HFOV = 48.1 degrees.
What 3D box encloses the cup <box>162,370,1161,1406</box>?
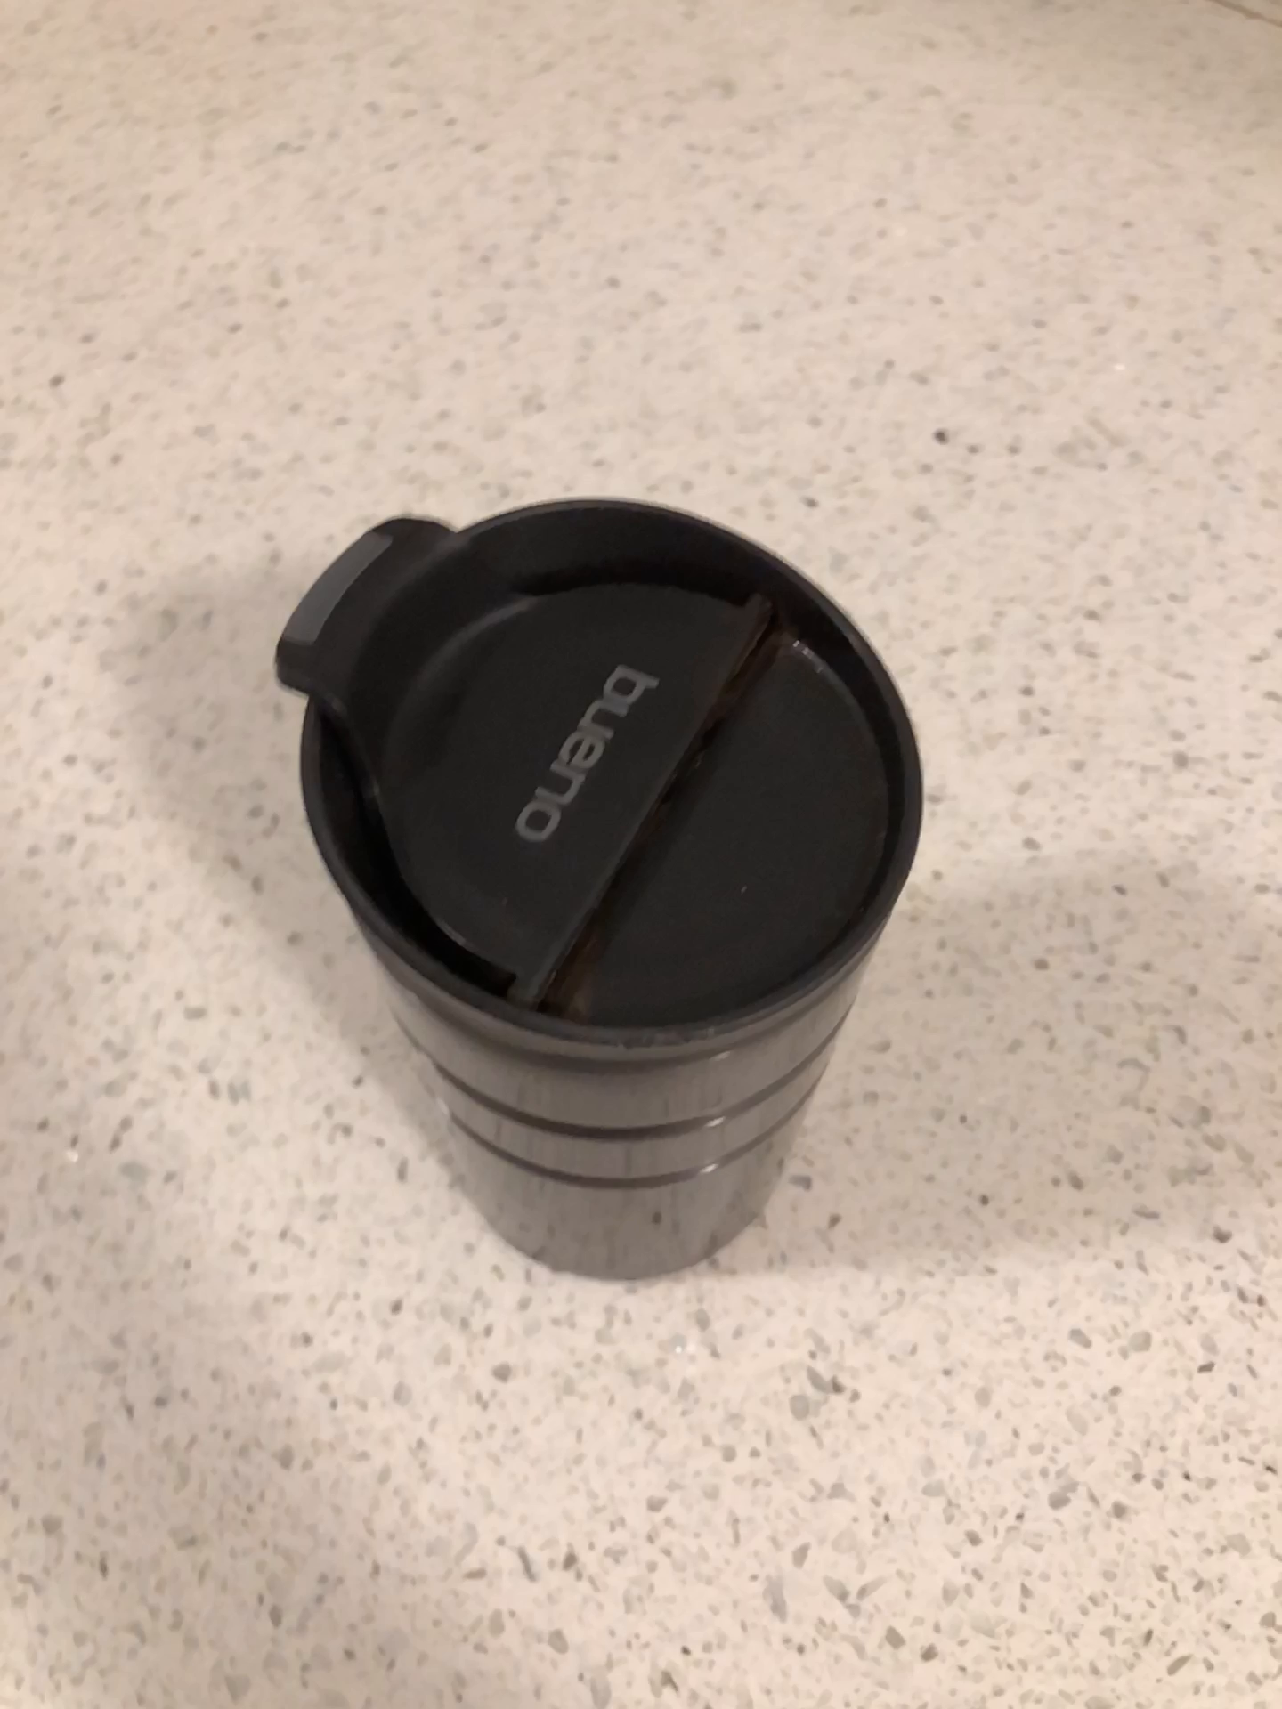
[{"bbox_3d":[0.000,0.013,0.218,0.086,0.116,0.085,0,60,0],"label":"cup"}]
